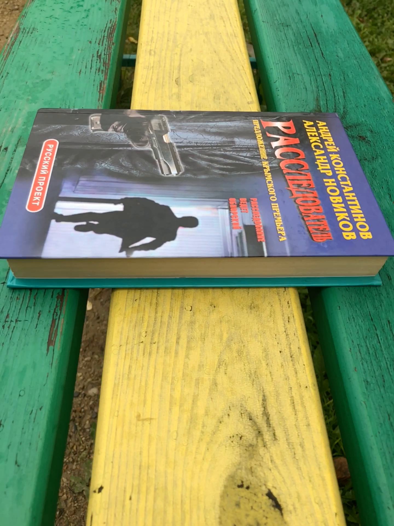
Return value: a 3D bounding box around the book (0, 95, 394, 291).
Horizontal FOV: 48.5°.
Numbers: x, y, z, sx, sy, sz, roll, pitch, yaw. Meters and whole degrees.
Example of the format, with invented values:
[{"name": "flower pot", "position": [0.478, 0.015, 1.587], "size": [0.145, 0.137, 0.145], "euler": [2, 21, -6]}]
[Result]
[{"name": "book", "position": [-0.003, -0.049, 0.267], "size": [0.201, 0.031, 0.139], "euler": [0, 51, -4]}]
